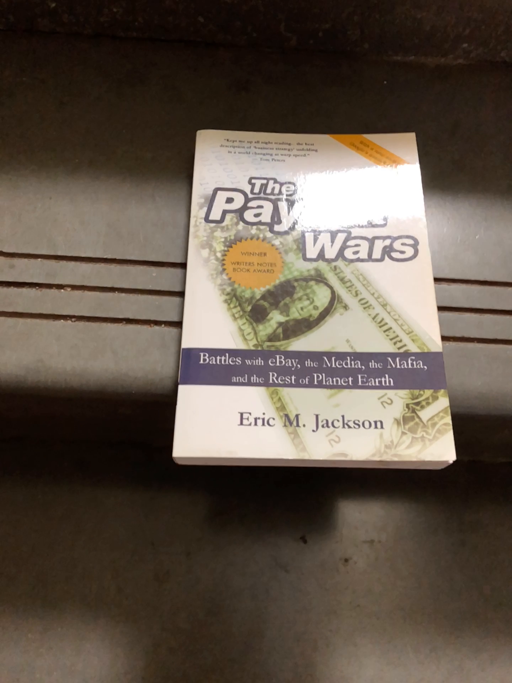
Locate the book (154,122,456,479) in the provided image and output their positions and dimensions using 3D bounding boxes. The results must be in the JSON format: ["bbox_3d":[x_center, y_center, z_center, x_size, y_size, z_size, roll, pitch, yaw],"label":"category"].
[{"bbox_3d":[0.025,-0.033,0.340,0.150,0.030,0.220,1,67,-1],"label":"book"}]
